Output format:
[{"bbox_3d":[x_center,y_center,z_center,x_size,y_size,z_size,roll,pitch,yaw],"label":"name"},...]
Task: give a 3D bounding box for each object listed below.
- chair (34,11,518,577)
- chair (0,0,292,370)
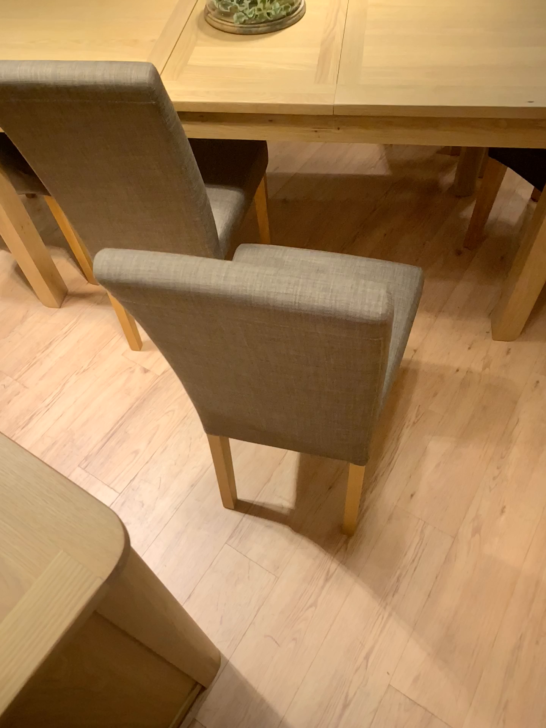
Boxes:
[{"bbox_3d":[0.081,-0.068,1.090,0.507,0.885,0.608,9,55,11],"label":"chair"},{"bbox_3d":[-0.248,-0.435,1.347,0.497,0.766,0.507,5,54,8],"label":"chair"}]
